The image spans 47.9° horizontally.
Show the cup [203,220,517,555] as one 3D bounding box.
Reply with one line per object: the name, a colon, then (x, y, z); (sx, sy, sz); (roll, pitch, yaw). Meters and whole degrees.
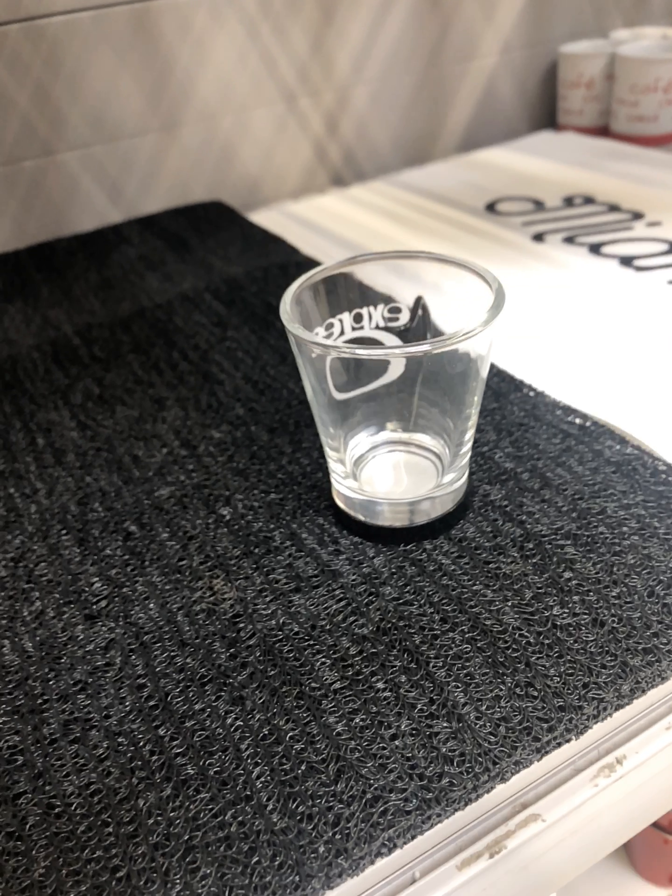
cup: (0.016, -0.021, 0.225); (0.073, 0.059, 0.087); (0, 35, 14)
